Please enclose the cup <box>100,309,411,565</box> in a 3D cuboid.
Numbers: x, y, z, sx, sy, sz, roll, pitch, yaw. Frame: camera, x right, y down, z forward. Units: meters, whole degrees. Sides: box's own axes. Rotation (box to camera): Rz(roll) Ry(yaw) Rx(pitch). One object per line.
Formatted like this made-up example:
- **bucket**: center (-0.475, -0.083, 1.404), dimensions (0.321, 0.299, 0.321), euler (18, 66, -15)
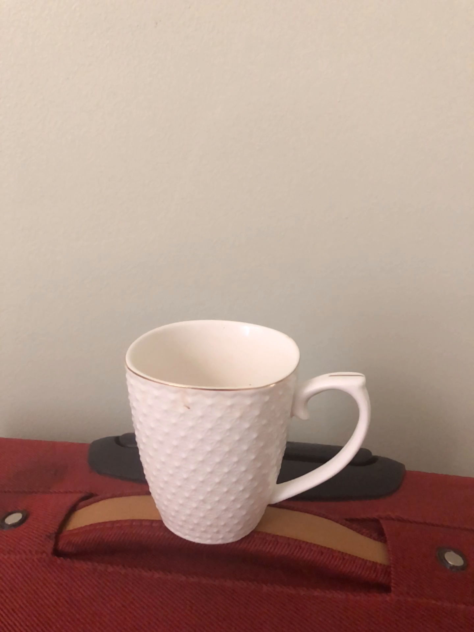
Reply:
- **cup**: center (0.007, 0.050, 0.239), dimensions (0.111, 0.084, 0.075), euler (0, 21, 0)
